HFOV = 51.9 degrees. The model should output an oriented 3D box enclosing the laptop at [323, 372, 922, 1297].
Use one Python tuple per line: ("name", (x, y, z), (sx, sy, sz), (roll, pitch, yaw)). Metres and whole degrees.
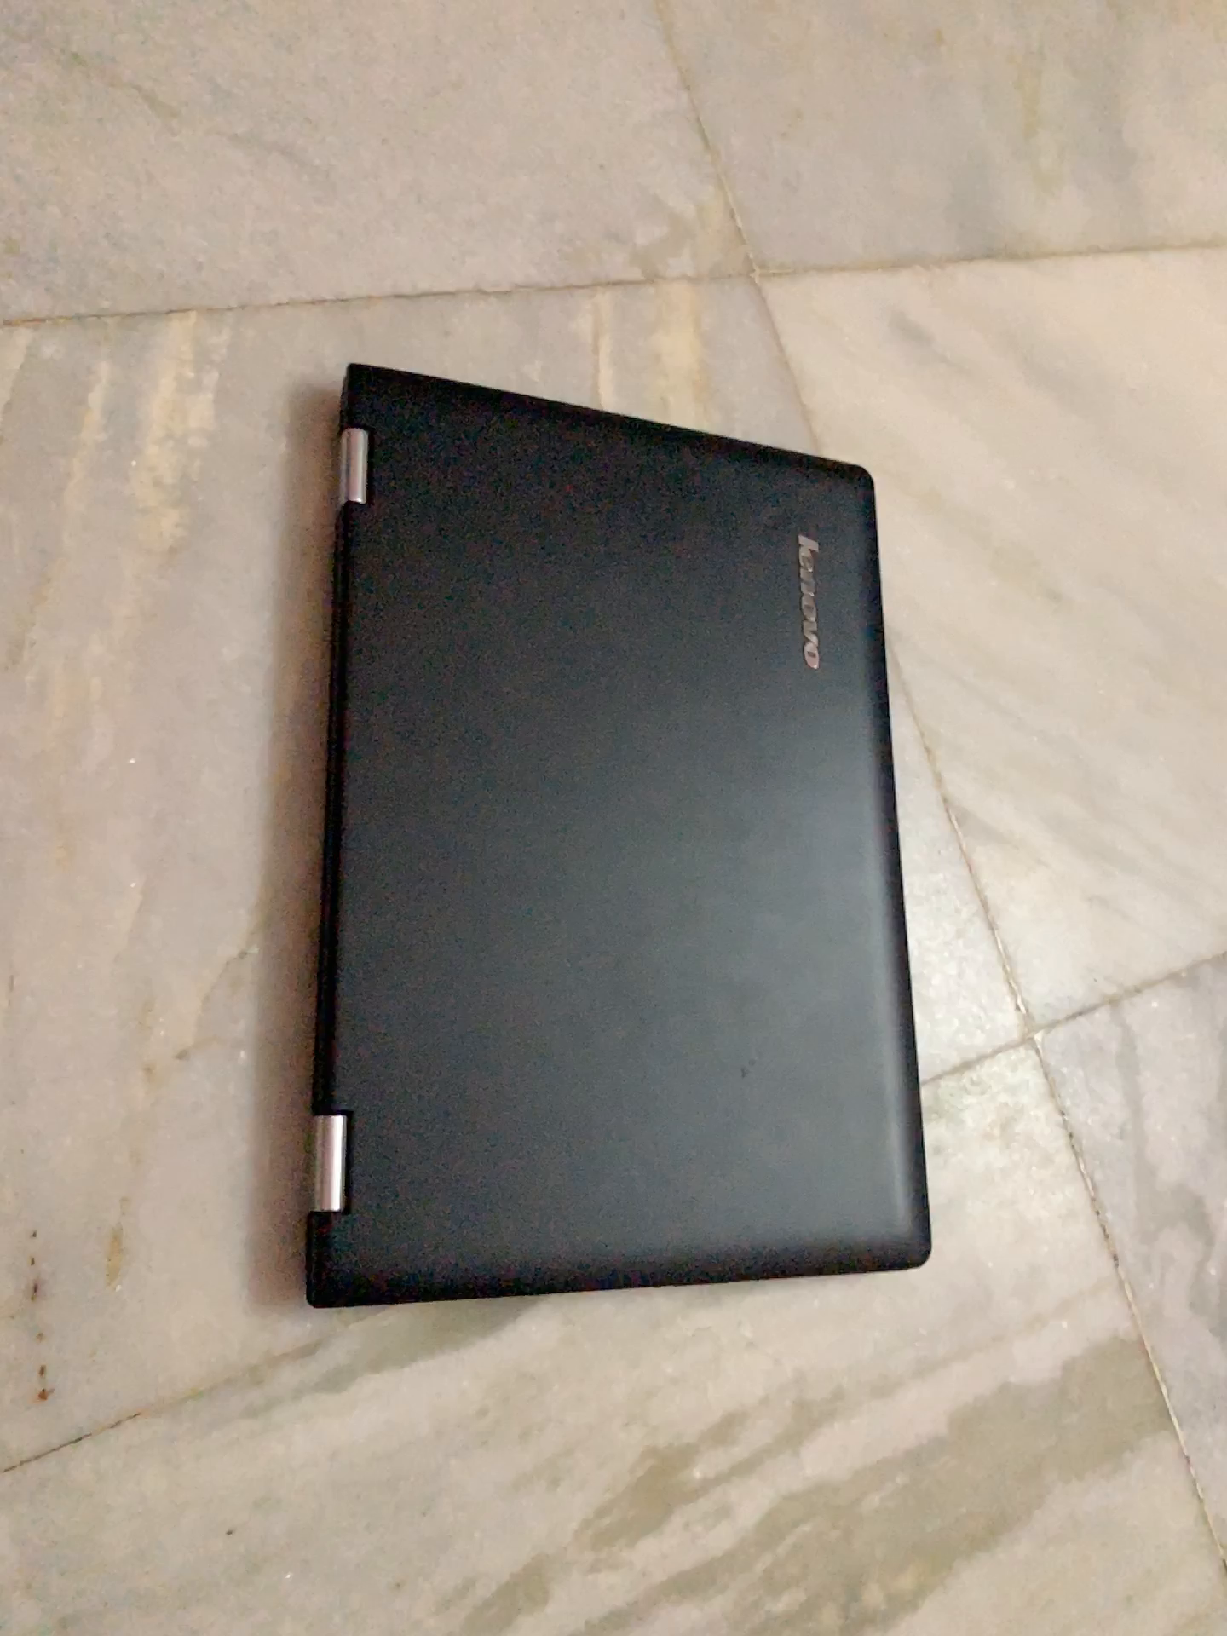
("laptop", (0.011, -0.001, 0.473), (0.224, 0.001, 0.325), (5, 75, -22))
